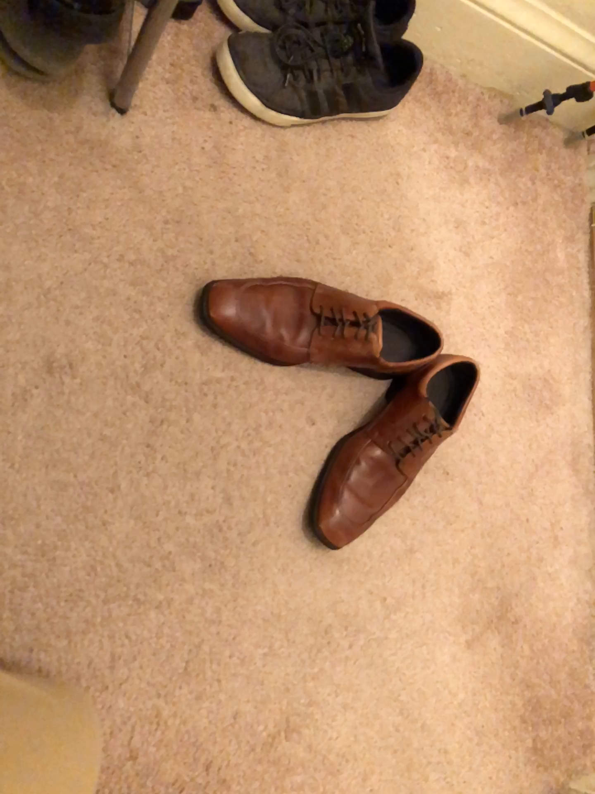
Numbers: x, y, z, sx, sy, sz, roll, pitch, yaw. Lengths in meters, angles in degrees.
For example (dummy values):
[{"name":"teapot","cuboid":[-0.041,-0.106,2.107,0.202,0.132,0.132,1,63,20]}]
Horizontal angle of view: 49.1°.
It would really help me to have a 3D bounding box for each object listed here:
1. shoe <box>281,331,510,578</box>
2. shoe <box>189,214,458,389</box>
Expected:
[{"name":"shoe","cuboid":[0.128,0.064,0.809,0.100,0.110,0.301,48,63,-17]},{"name":"shoe","cuboid":[0.038,-0.100,0.789,0.301,0.120,0.120,10,78,-29]}]
